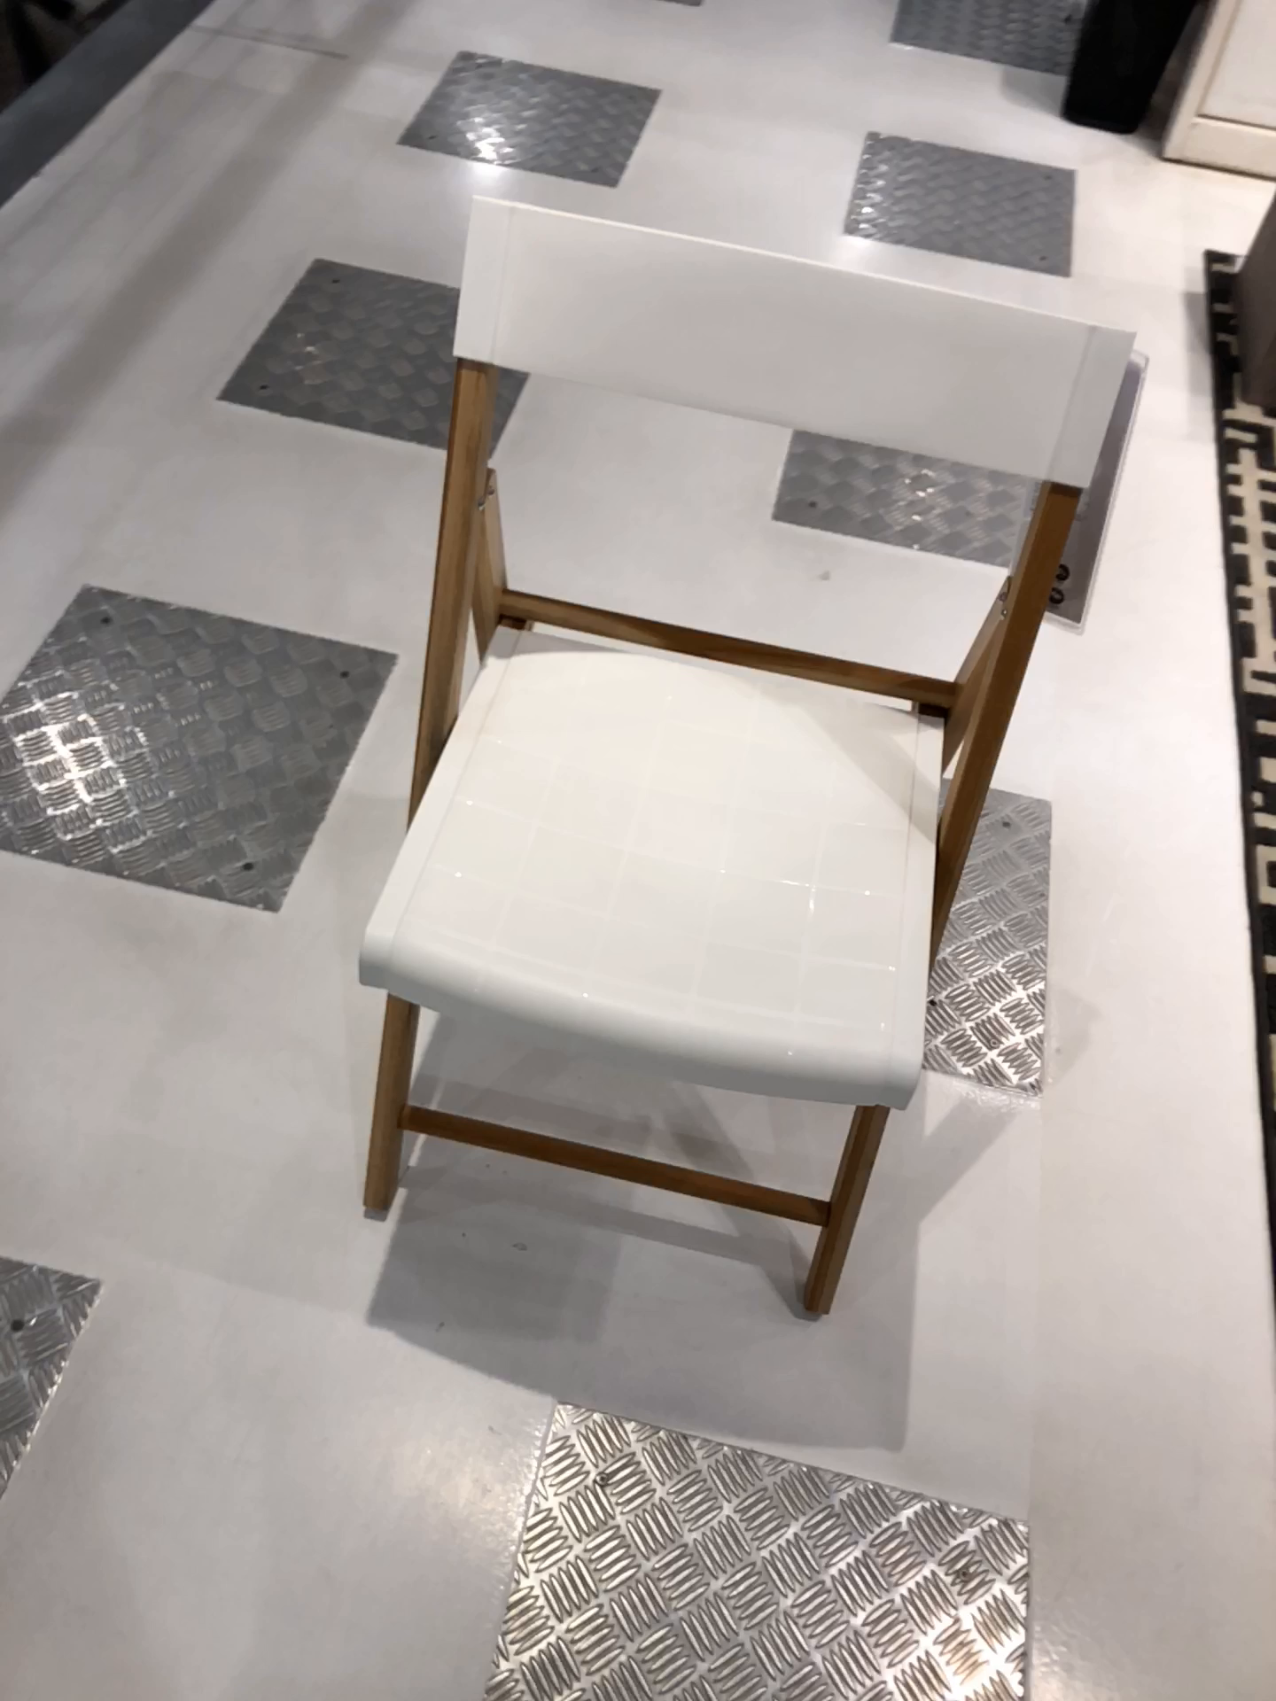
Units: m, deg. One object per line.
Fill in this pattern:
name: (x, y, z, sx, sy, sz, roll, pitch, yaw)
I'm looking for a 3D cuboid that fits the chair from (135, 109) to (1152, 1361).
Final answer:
chair: (0.021, -0.049, 1.083, 0.470, 0.705, 0.554, 12, 51, 3)
